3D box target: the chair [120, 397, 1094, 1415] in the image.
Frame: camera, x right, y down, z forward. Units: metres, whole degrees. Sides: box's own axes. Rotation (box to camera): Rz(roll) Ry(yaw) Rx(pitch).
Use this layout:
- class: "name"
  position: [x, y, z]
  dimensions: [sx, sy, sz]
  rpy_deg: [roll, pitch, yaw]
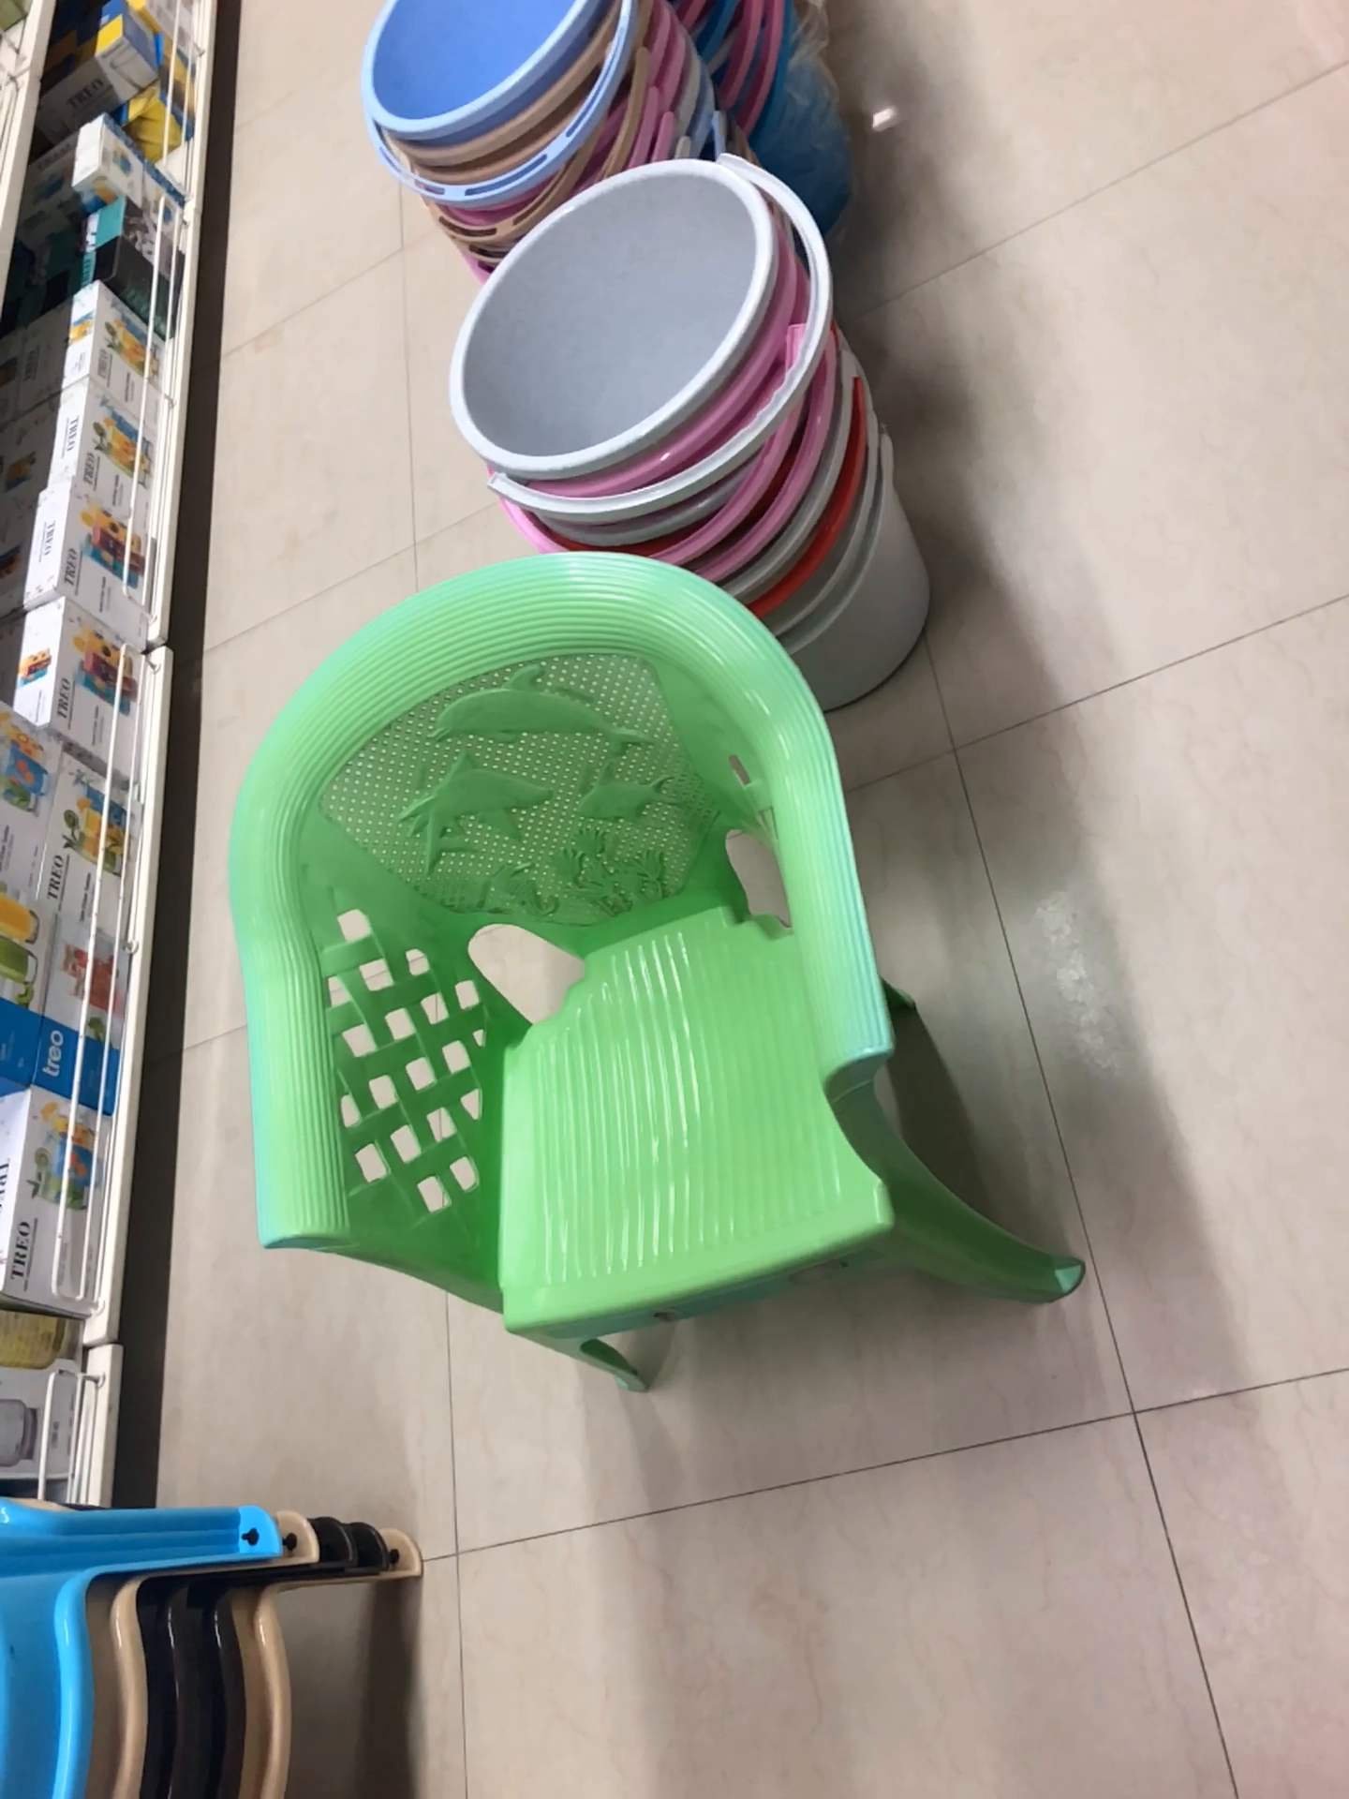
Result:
- class: "chair"
  position: [-0.024, 0.051, 0.984]
  dimensions: [0.431, 0.398, 0.472]
  rpy_deg: [-16, 59, 25]
